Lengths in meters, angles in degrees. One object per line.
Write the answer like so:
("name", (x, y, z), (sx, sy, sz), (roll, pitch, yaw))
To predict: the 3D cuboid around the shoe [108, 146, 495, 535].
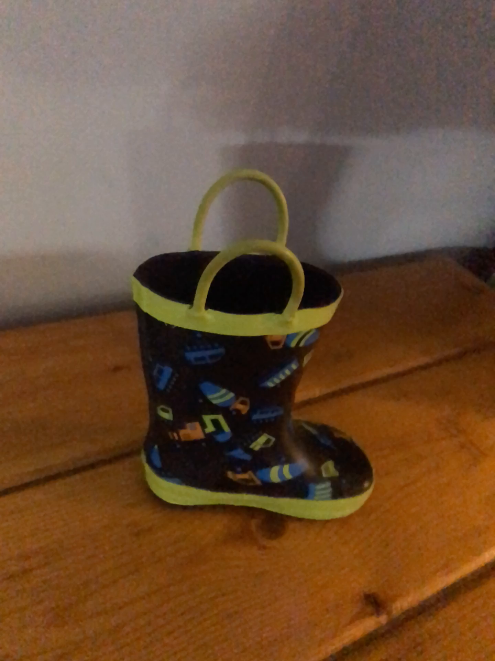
("shoe", (0.018, 0.022, 0.313), (0.170, 0.199, 0.080), (7, 40, -10))
